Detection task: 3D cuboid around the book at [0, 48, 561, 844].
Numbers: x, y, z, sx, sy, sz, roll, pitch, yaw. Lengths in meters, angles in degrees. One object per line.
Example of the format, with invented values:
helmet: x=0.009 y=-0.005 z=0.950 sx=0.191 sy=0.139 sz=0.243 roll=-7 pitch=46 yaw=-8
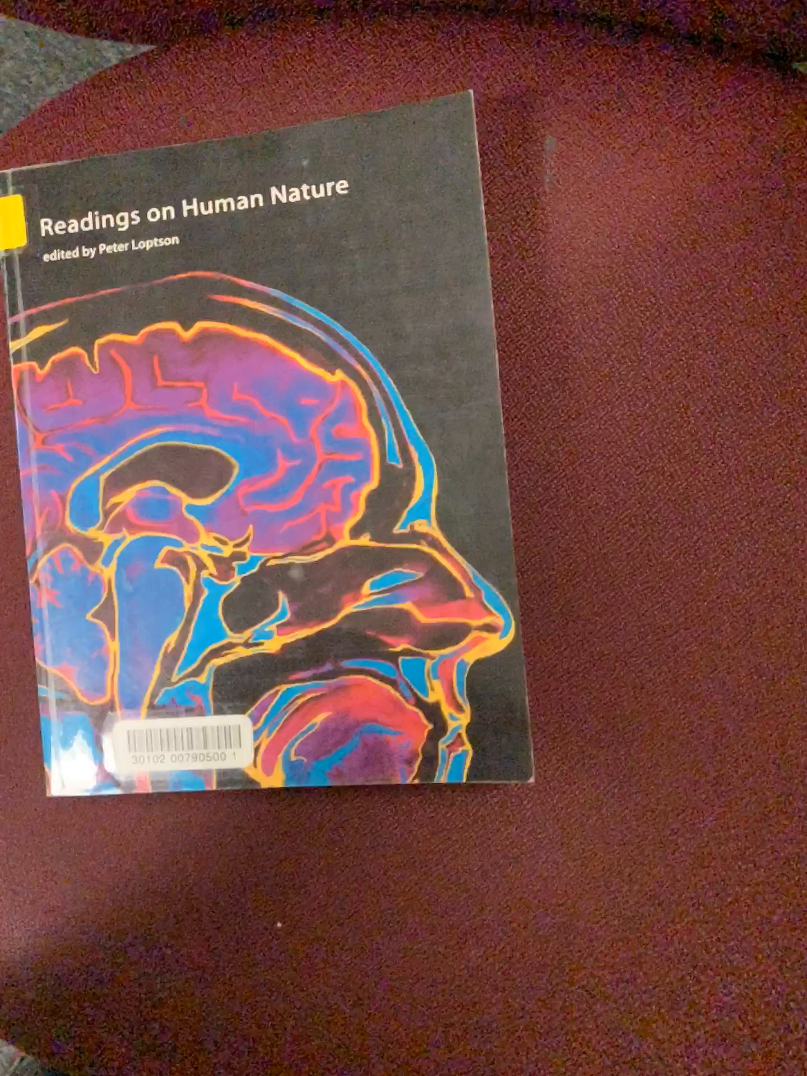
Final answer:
book: x=-0.058 y=-0.026 z=0.286 sx=0.200 sy=0.040 sz=0.240 roll=-5 pitch=85 yaw=9
